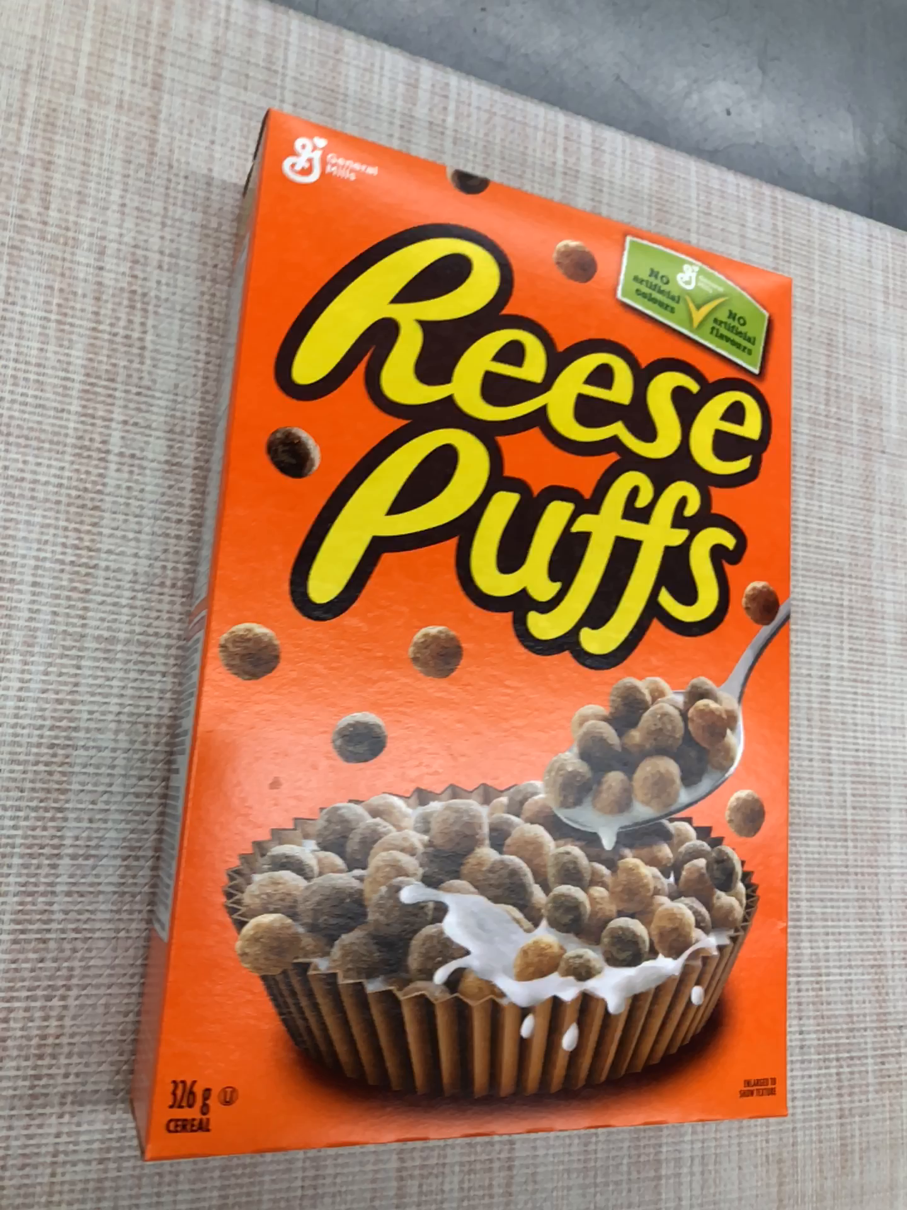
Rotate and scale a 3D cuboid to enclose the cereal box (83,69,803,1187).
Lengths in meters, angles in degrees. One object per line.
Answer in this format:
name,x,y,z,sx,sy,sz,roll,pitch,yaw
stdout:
cereal box,0.011,0.010,0.317,0.201,0.060,0.280,9,79,-25
